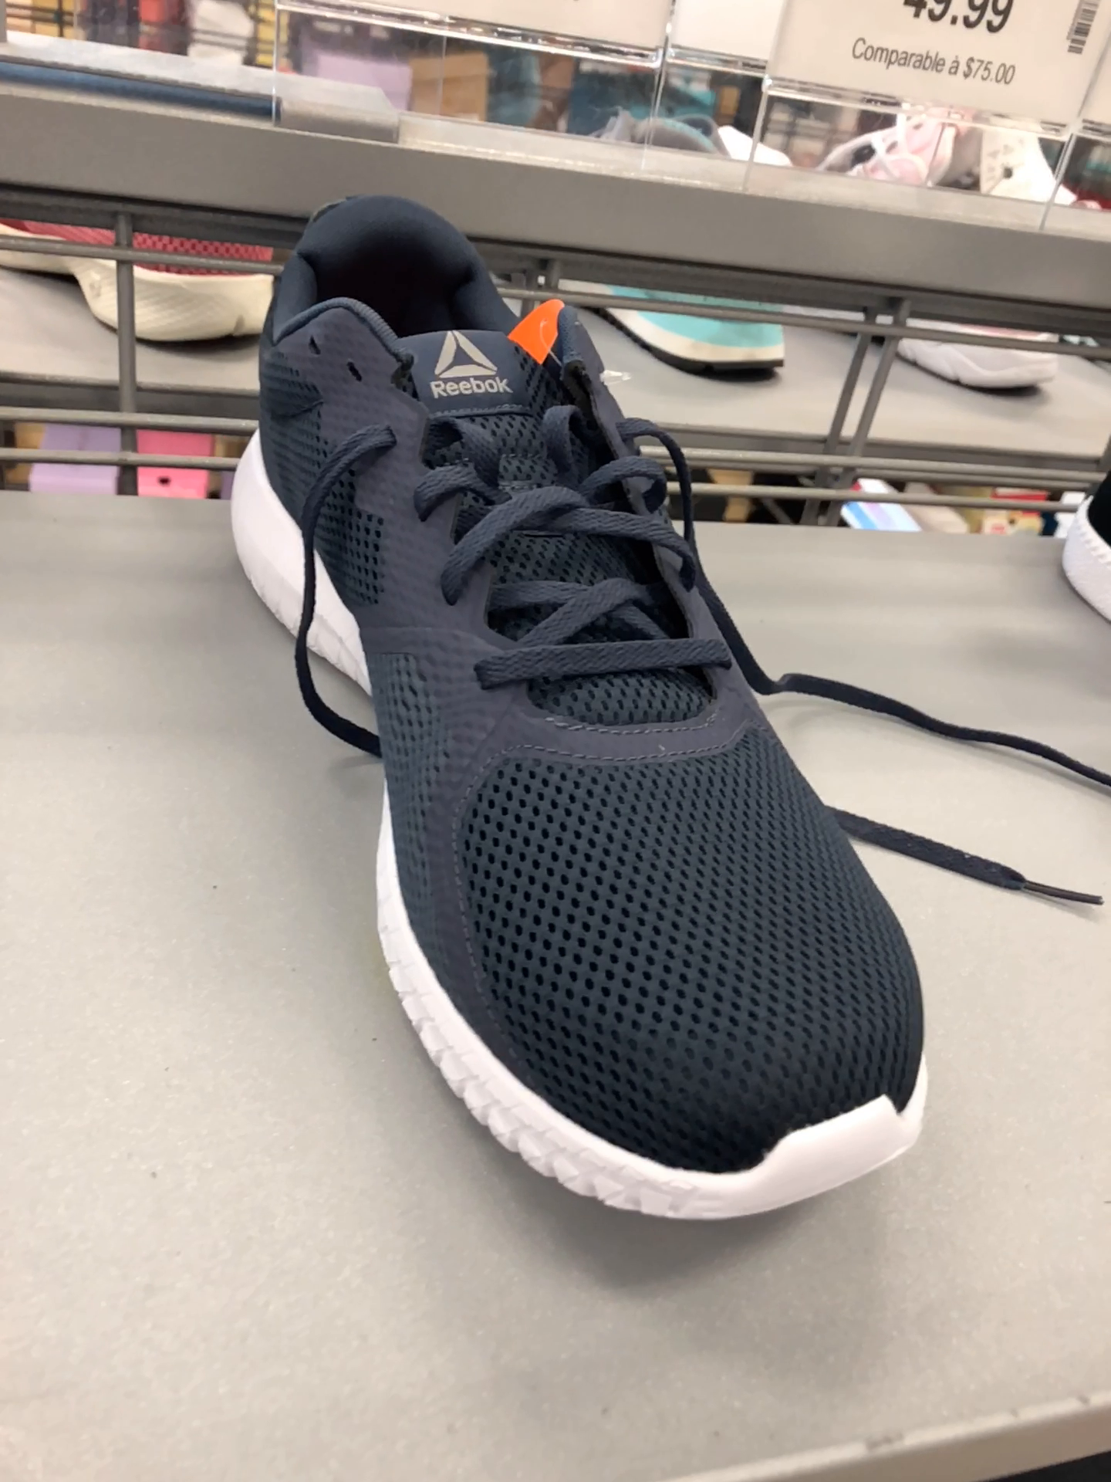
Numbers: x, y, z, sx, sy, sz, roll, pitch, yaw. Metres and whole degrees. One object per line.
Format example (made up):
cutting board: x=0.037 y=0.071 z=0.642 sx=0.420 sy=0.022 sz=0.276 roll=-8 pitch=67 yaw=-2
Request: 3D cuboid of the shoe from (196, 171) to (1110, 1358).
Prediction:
shoe: x=-0.001 y=-0.042 z=0.313 sx=0.120 sy=0.109 sz=0.322 roll=-5 pitch=37 yaw=-25
